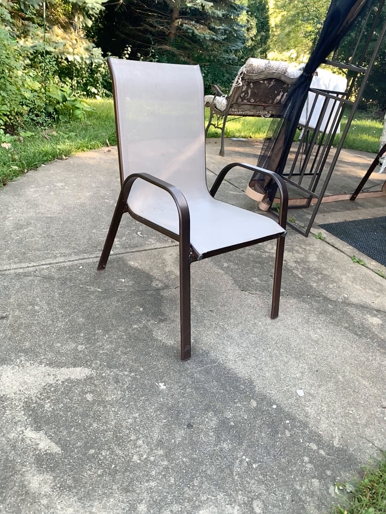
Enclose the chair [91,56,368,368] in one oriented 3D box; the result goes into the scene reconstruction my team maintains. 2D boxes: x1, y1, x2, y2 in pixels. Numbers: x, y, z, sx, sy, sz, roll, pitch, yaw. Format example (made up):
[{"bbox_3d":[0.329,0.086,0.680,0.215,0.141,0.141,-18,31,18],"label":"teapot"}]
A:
[{"bbox_3d":[0.043,-0.225,1.521,0.571,0.845,0.743,-15,38,-36],"label":"chair"}]
